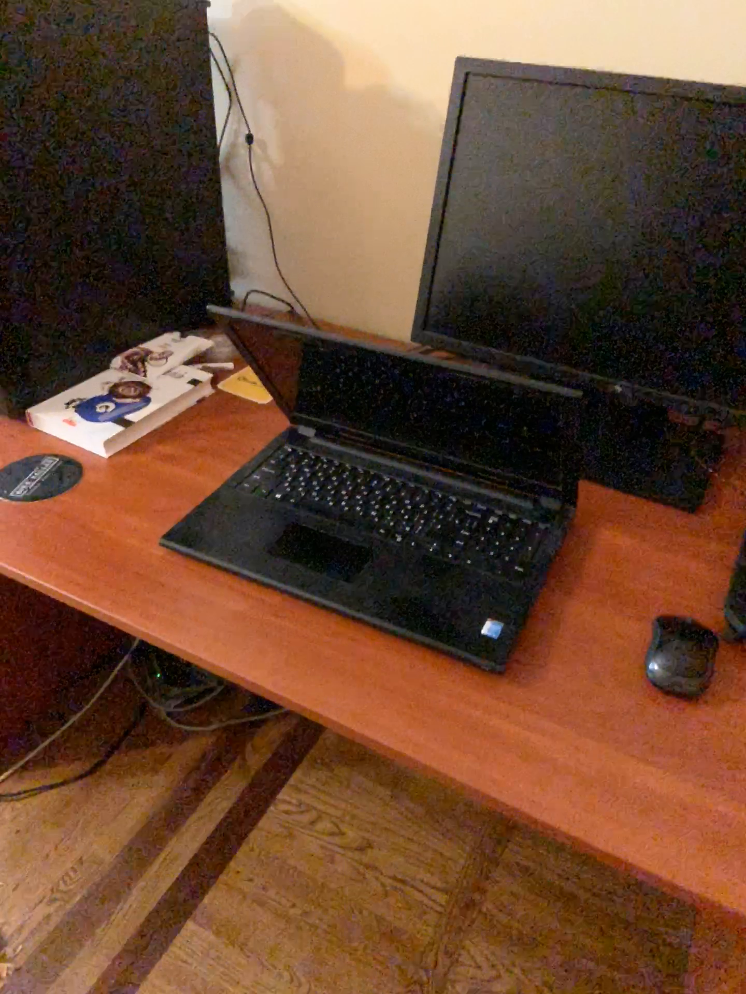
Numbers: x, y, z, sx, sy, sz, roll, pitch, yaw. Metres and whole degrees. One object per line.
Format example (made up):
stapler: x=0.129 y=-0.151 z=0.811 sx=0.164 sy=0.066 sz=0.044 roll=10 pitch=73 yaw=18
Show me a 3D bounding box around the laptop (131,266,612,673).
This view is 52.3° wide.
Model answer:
laptop: x=0.004 y=-0.053 z=0.760 sx=0.372 sy=0.212 sz=0.255 roll=18 pitch=39 yaw=20
